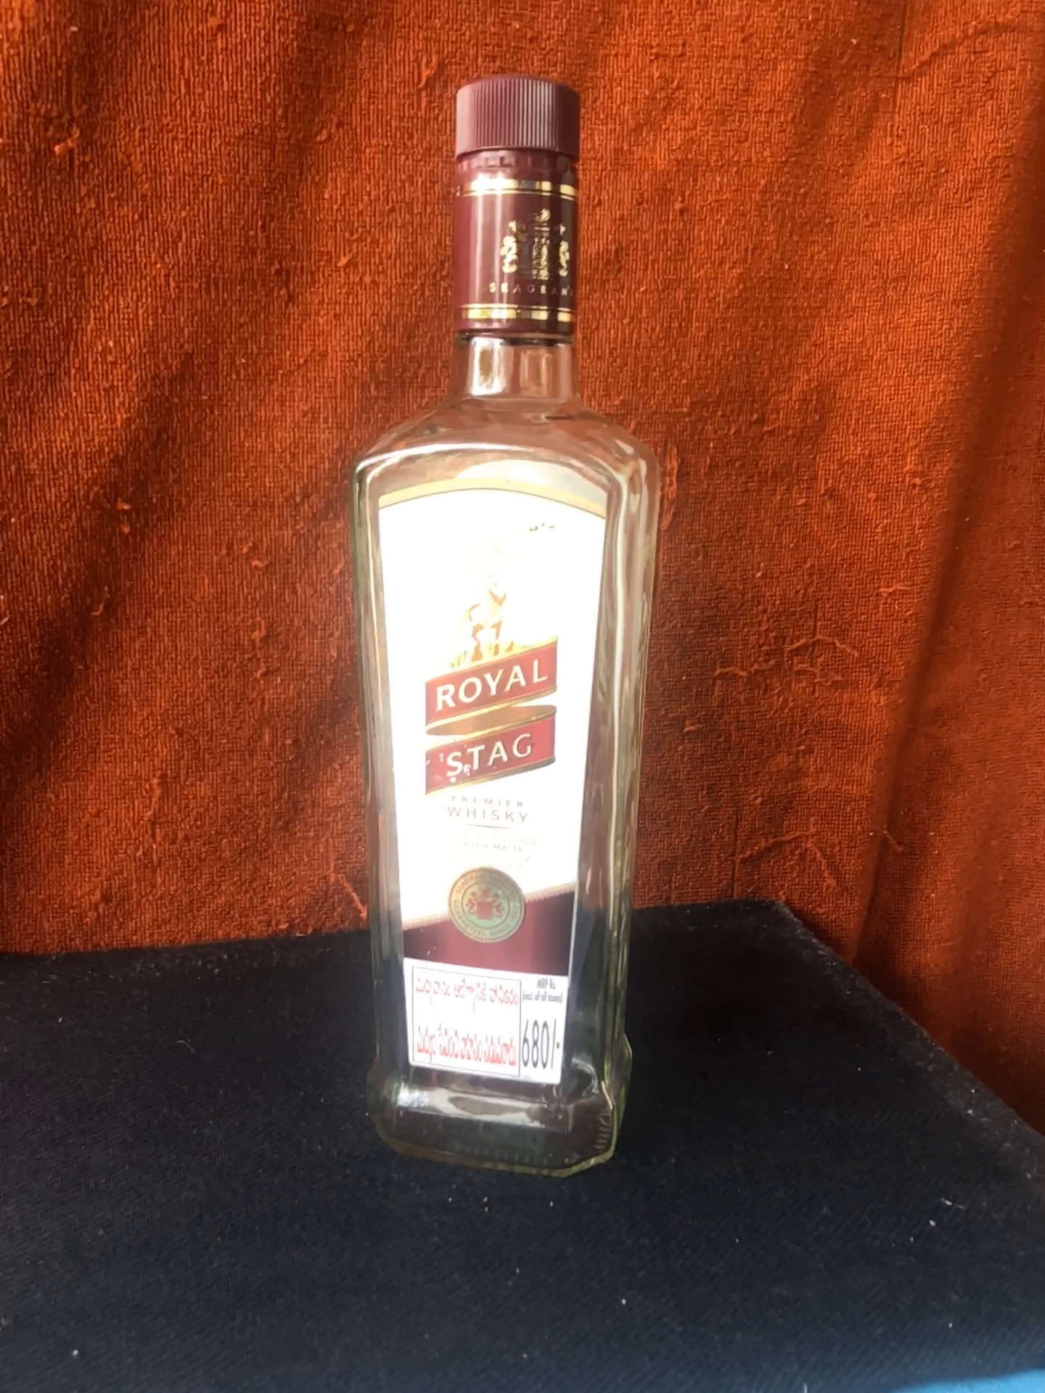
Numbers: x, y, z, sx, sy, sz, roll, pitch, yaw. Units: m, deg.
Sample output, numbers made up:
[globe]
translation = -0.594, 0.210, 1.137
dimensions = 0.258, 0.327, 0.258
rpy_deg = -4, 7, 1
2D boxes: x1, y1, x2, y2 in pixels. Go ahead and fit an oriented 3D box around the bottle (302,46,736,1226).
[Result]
[bottle]
translation = -0.005, -0.006, 0.314
dimensions = 0.090, 0.289, 0.060
rpy_deg = 5, 15, 6
